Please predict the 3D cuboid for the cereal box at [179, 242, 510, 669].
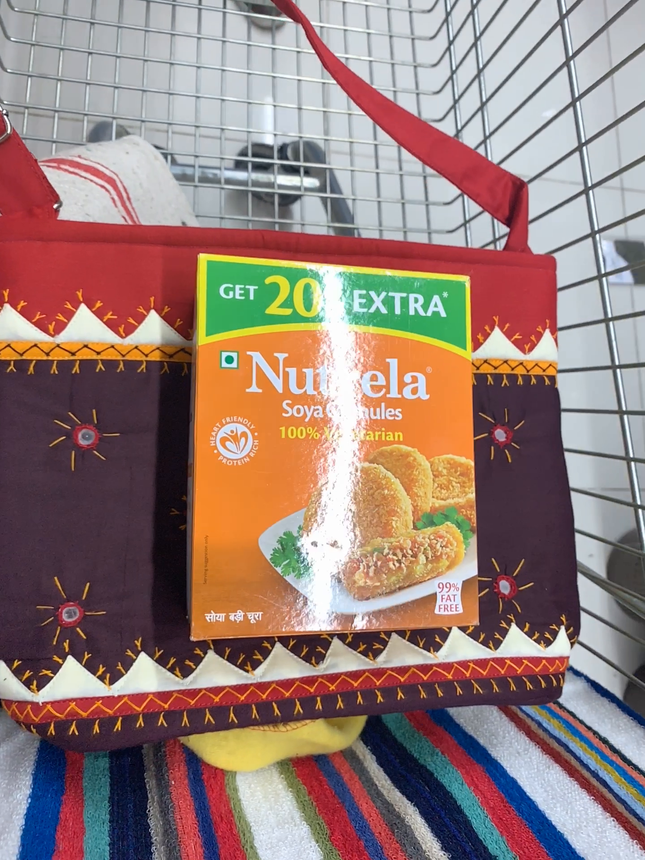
[{"bbox_3d":[0.004,0.011,0.275,0.120,0.060,0.150,1,81,-13],"label":"cereal box"}]
